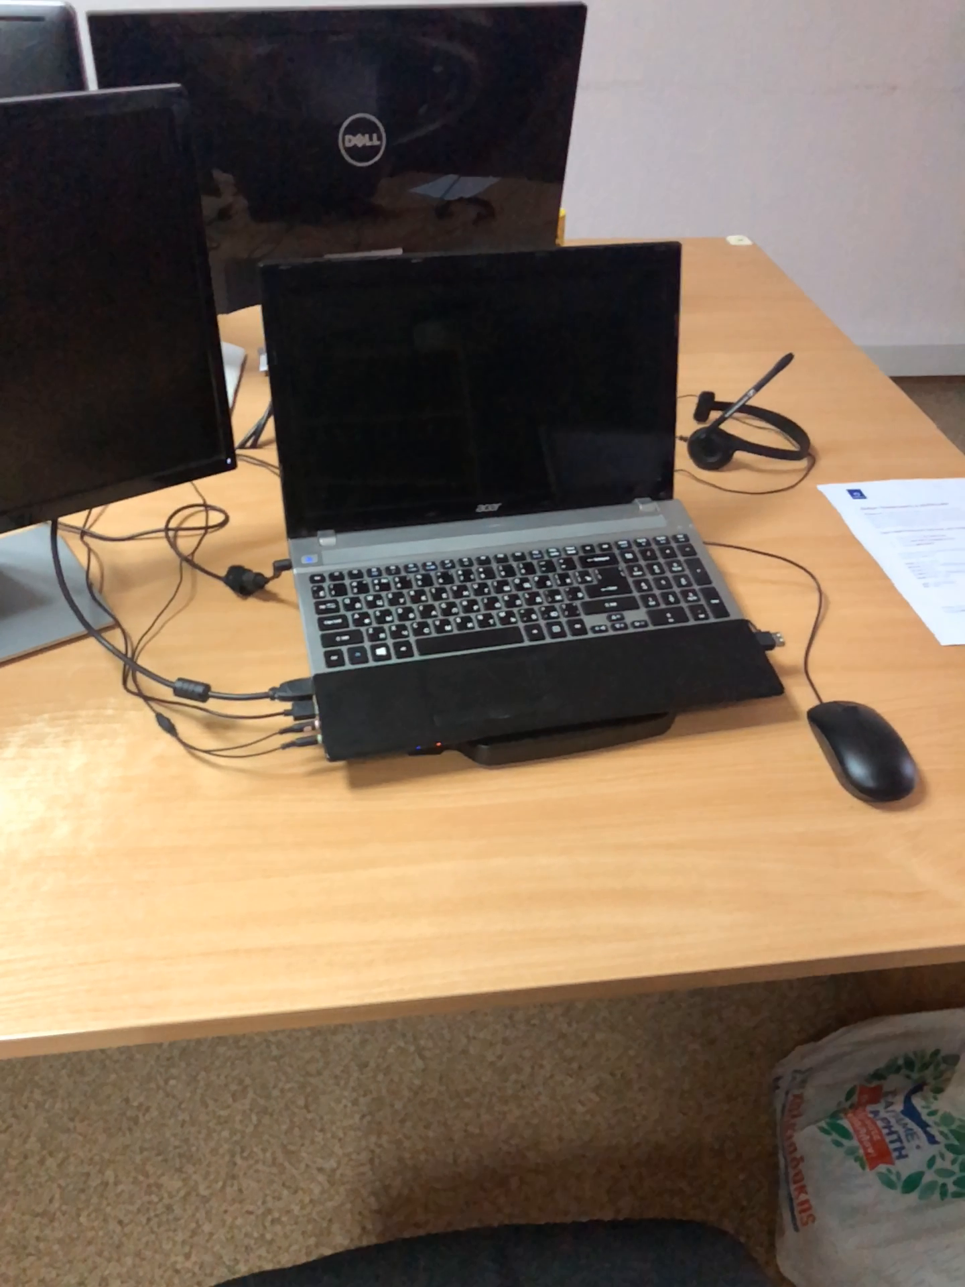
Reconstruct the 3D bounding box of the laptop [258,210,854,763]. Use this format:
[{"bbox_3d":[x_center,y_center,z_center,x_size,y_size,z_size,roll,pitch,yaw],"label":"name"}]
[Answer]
[{"bbox_3d":[0.030,-0.151,0.868,0.370,0.215,0.353,-7,46,-12],"label":"laptop"}]
